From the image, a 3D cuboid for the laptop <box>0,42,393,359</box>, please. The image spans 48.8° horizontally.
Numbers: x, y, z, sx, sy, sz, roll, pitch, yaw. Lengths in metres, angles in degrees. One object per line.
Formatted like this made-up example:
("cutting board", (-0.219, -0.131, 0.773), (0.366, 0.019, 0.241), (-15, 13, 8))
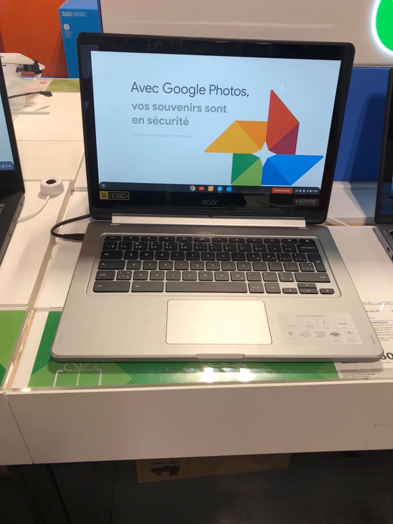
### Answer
("laptop", (0.022, -0.070, 0.439), (0.317, 0.226, 0.240), (1, 38, -2))
